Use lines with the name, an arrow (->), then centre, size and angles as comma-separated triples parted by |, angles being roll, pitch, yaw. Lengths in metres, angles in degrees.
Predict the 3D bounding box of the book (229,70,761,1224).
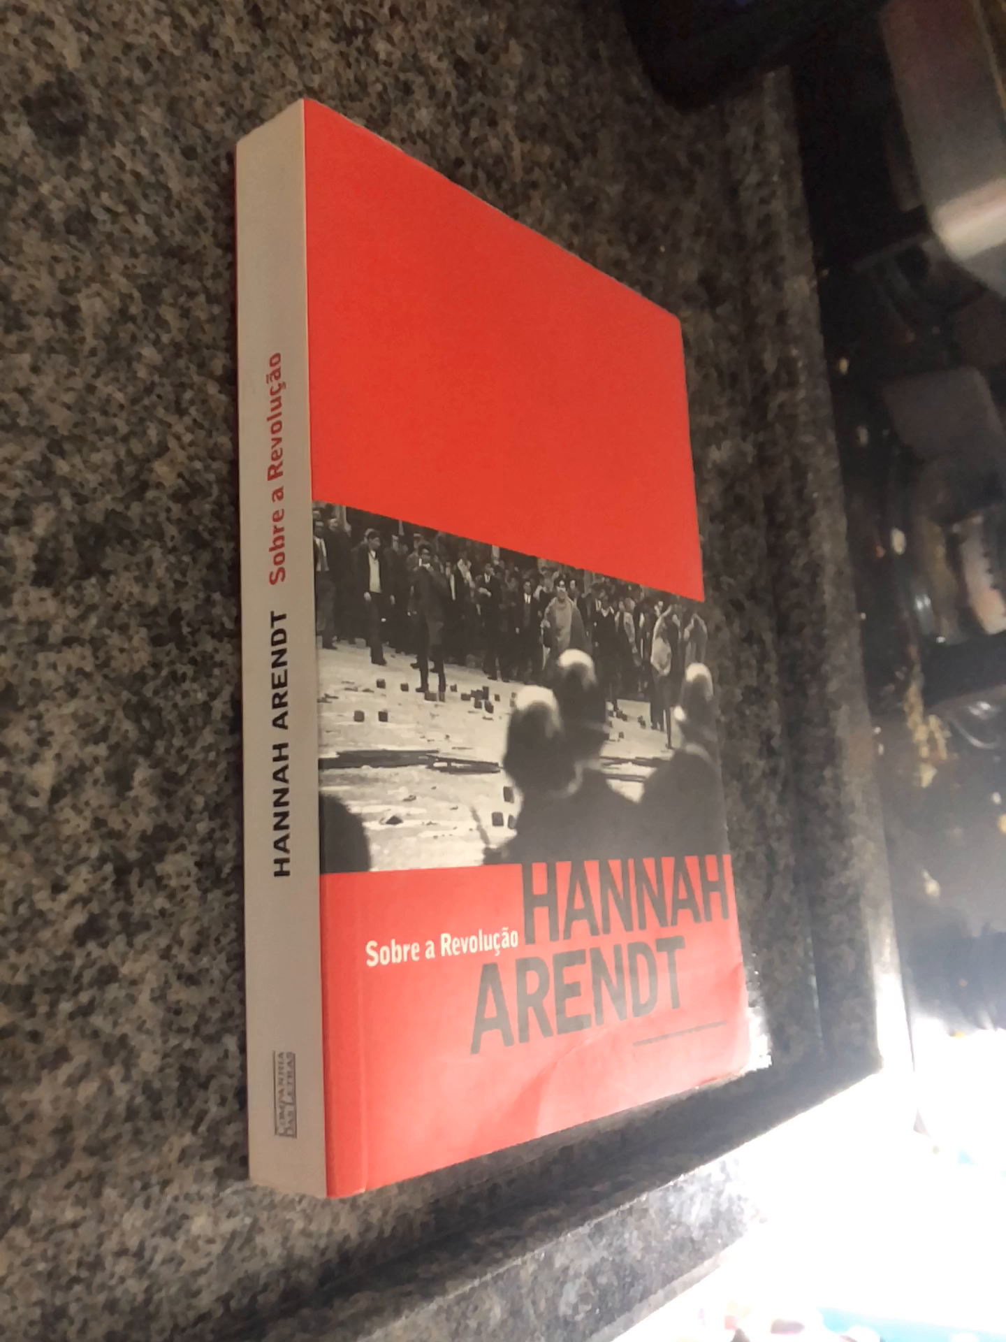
book -> 0.006, -0.005, 0.293 | 0.161, 0.030, 0.234 | 8, 76, -49
